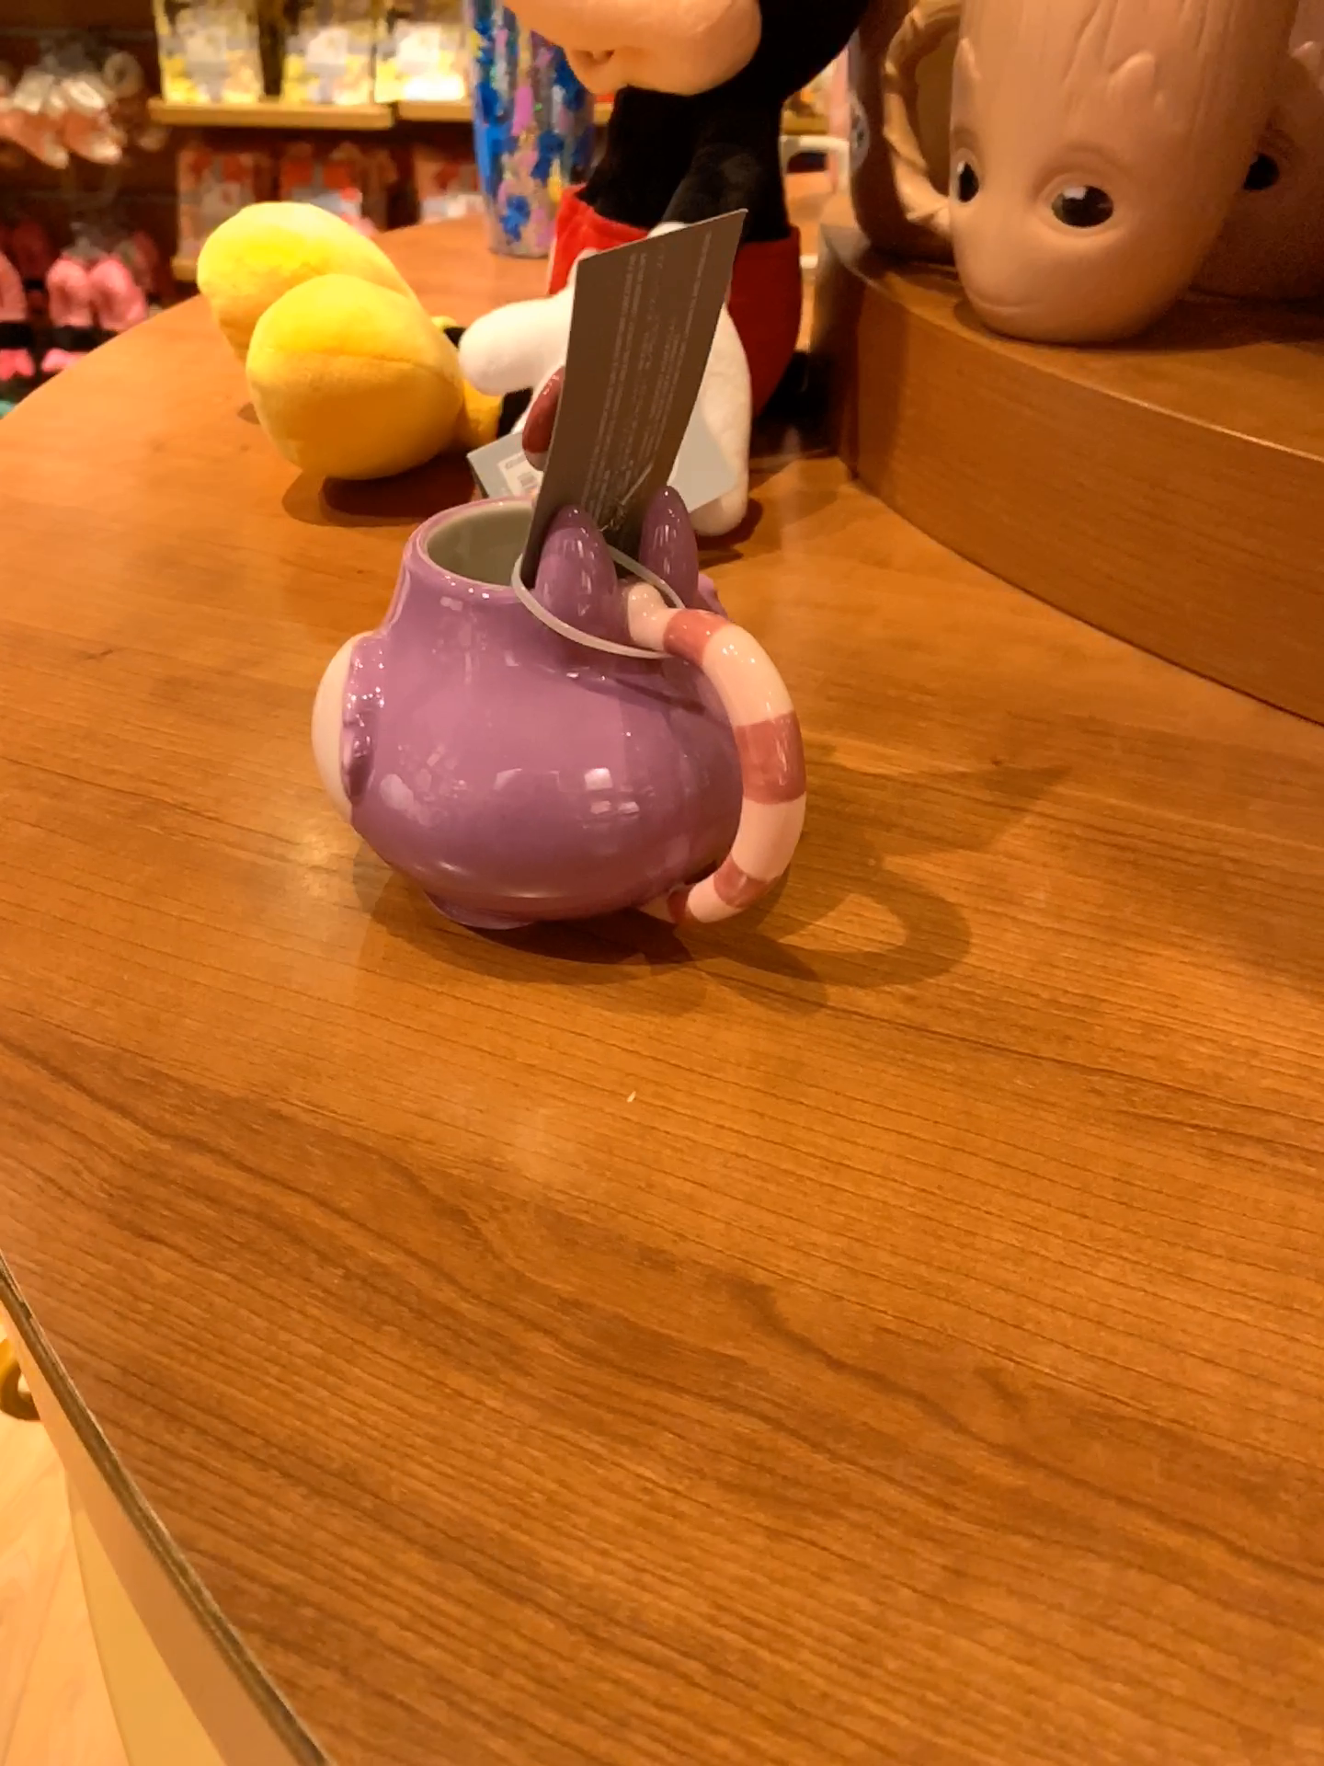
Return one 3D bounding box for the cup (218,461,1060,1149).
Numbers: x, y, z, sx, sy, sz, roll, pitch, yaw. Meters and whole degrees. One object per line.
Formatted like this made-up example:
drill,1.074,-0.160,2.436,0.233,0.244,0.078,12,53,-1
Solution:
cup,-0.003,-0.030,0.316,0.142,0.077,0.115,21,38,25
